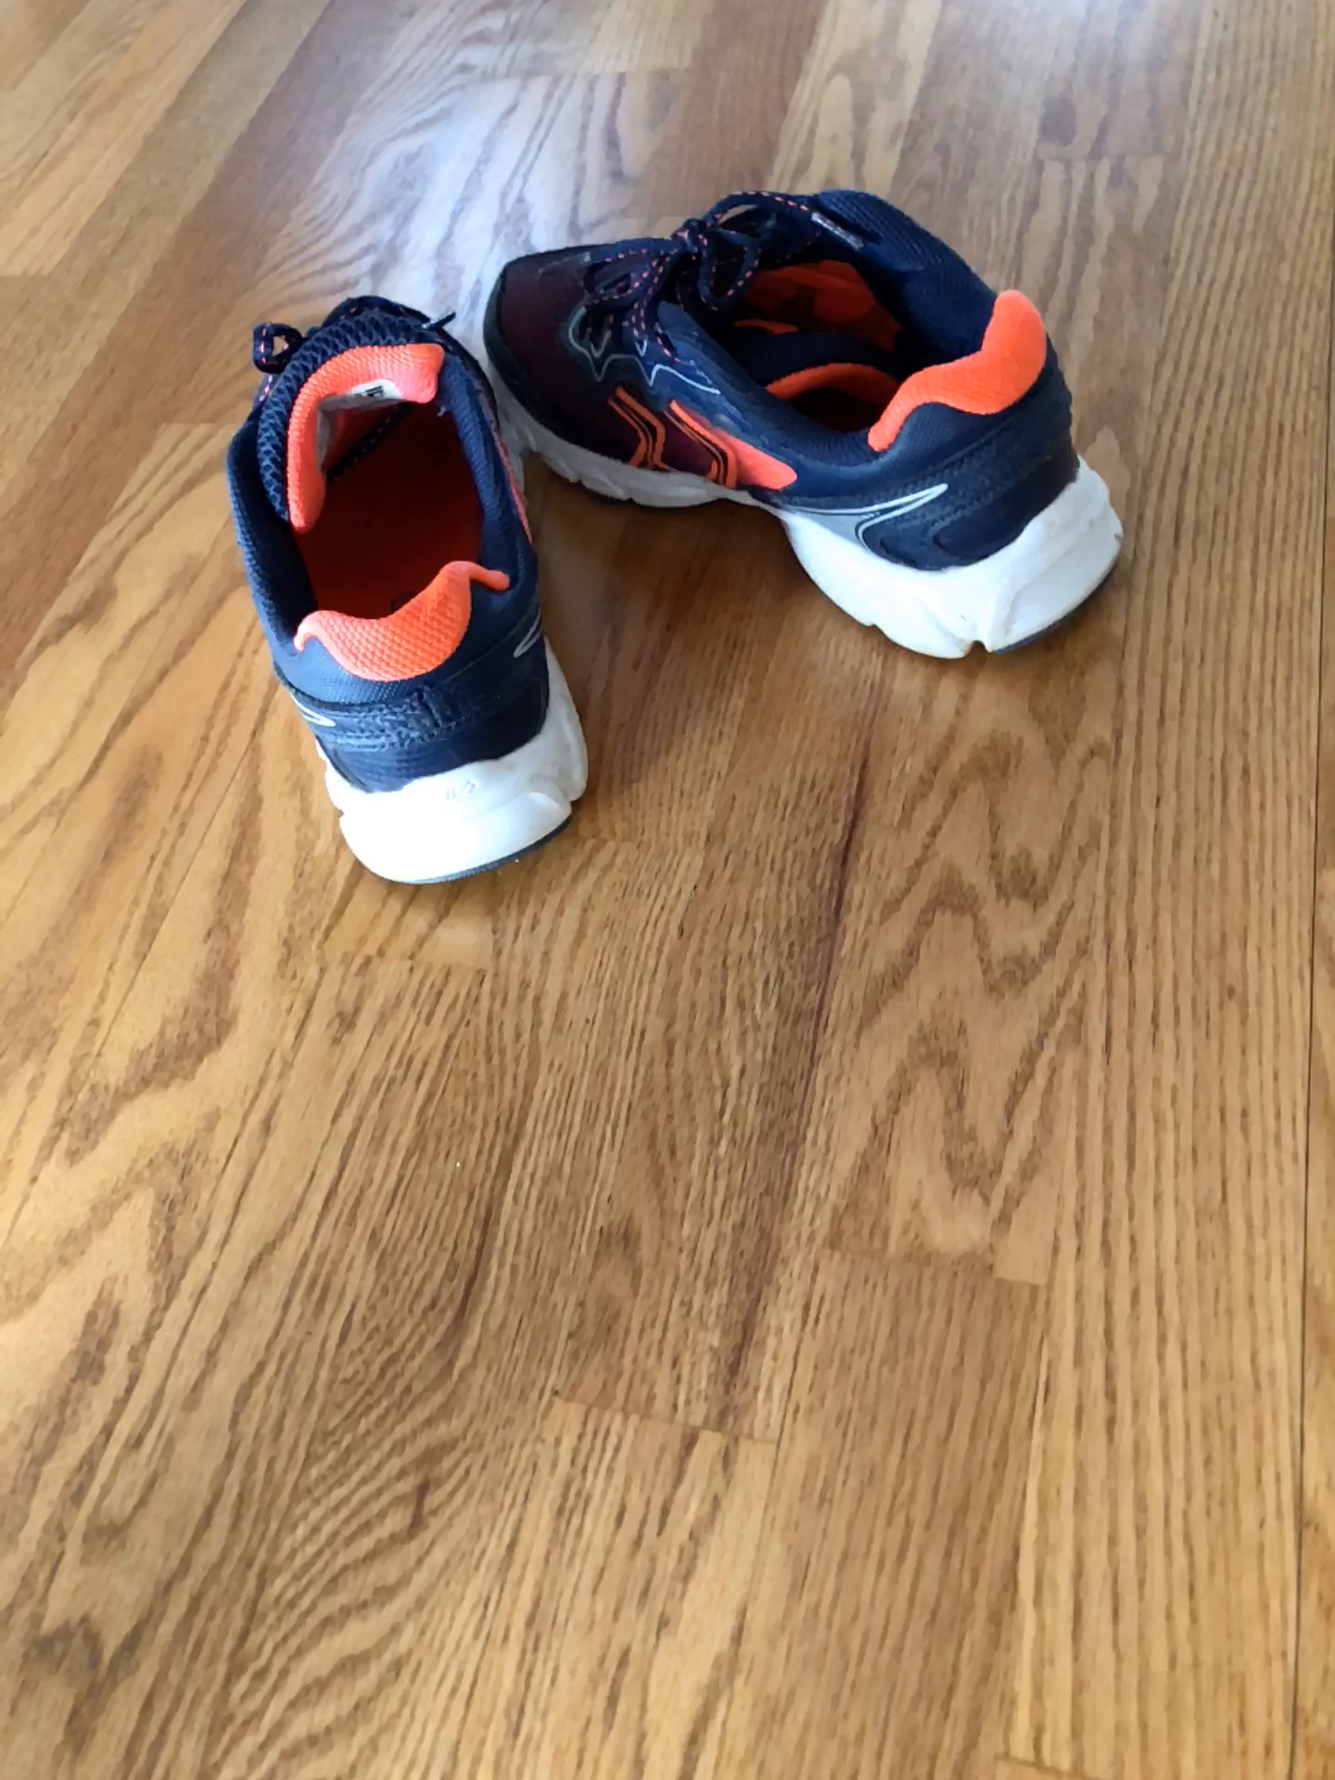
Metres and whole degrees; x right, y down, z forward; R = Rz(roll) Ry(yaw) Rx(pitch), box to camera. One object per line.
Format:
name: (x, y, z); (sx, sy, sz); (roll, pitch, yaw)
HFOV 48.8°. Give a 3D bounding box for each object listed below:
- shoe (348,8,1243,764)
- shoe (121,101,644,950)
shoe: (0.032, -0.181, 0.495); (0.116, 0.109, 0.278); (-40, 57, -15)
shoe: (-0.102, -0.132, 0.494); (0.108, 0.109, 0.271); (-18, 54, 1)
